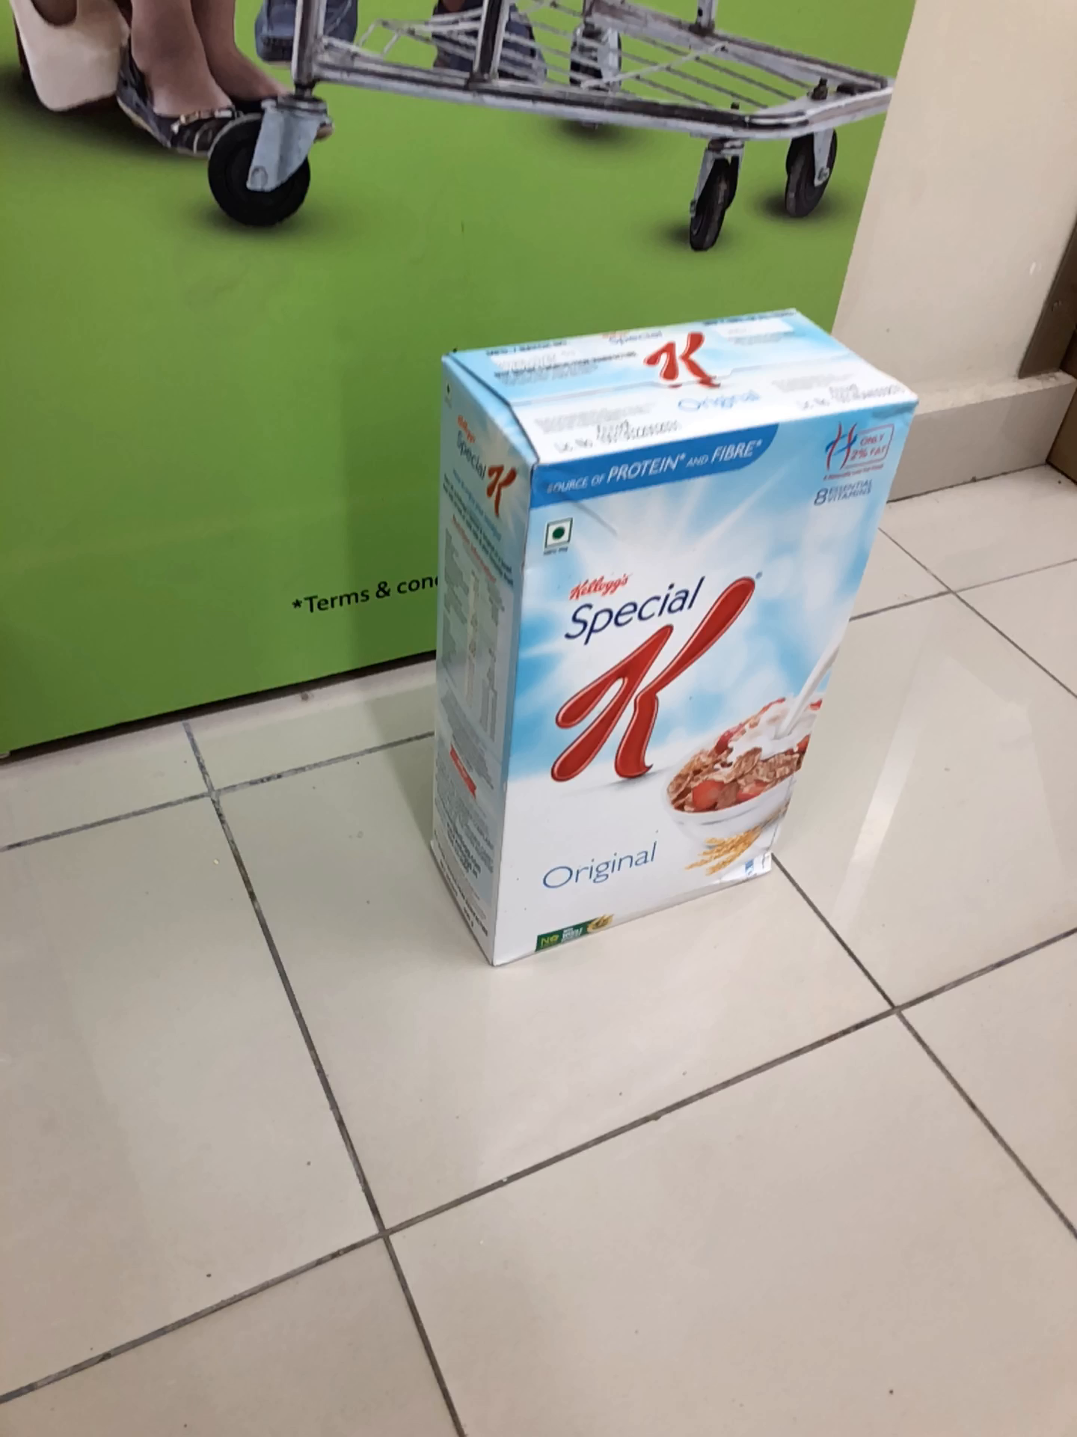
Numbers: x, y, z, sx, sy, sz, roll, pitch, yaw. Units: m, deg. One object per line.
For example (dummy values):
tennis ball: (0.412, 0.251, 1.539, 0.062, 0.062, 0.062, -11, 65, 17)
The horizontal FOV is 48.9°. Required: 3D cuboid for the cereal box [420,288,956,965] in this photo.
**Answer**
cereal box: (0.055, -0.038, 0.604, 0.201, 0.308, 0.100, -15, 46, -23)
